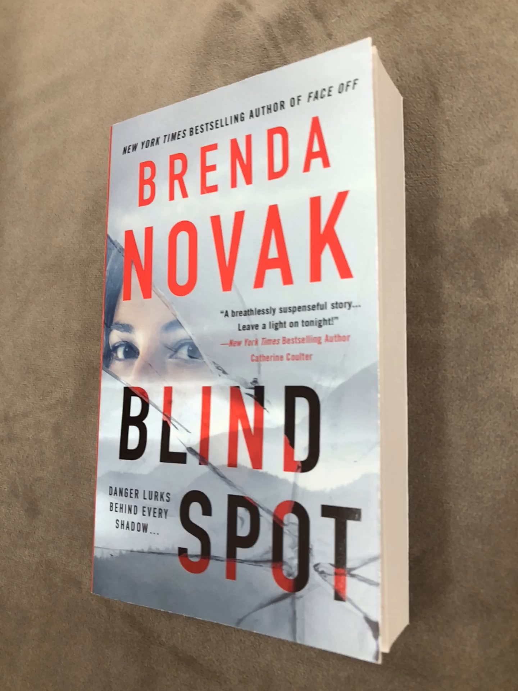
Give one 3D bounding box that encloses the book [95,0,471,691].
[{"bbox_3d":[0.005,0.001,0.206,0.120,0.050,0.190,-4,83,35],"label":"book"}]
